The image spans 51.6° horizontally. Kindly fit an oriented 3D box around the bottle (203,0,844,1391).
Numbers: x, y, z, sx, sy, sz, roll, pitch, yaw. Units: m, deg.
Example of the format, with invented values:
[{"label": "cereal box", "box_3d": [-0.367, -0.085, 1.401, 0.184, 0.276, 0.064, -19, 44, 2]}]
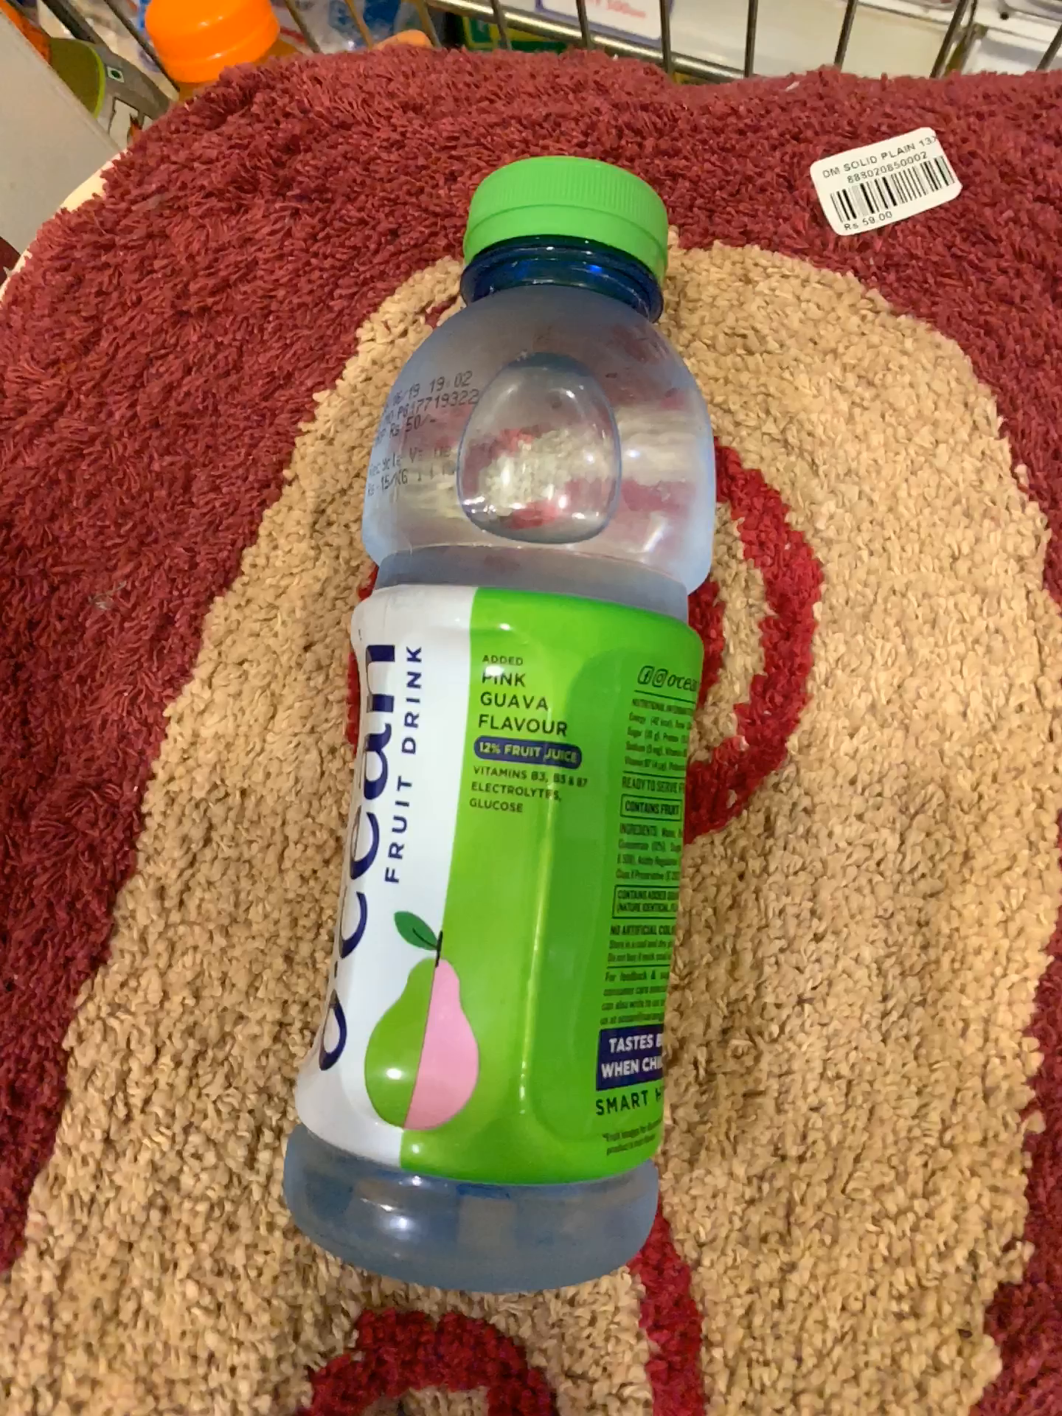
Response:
[{"label": "bottle", "box_3d": [0.005, -0.007, 0.210, 0.080, 0.070, 0.210, 4, 86, 25]}]
